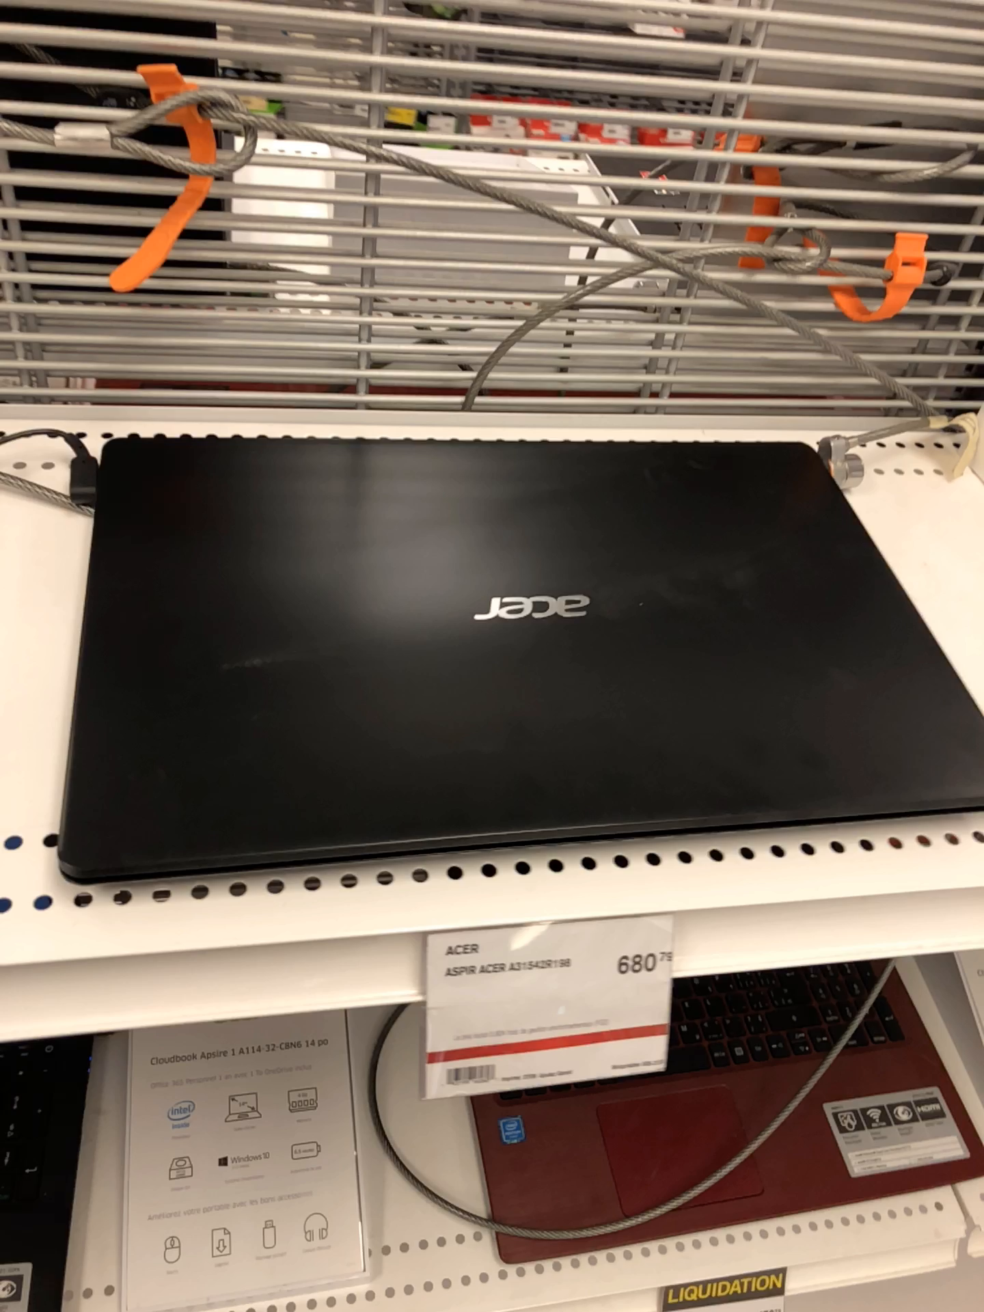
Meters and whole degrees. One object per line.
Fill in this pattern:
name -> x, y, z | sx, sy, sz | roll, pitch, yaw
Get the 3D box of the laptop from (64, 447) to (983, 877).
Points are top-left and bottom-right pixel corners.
laptop -> 0.015, -0.020, 0.471 | 0.355, 0.006, 0.232 | -2, 46, -13
